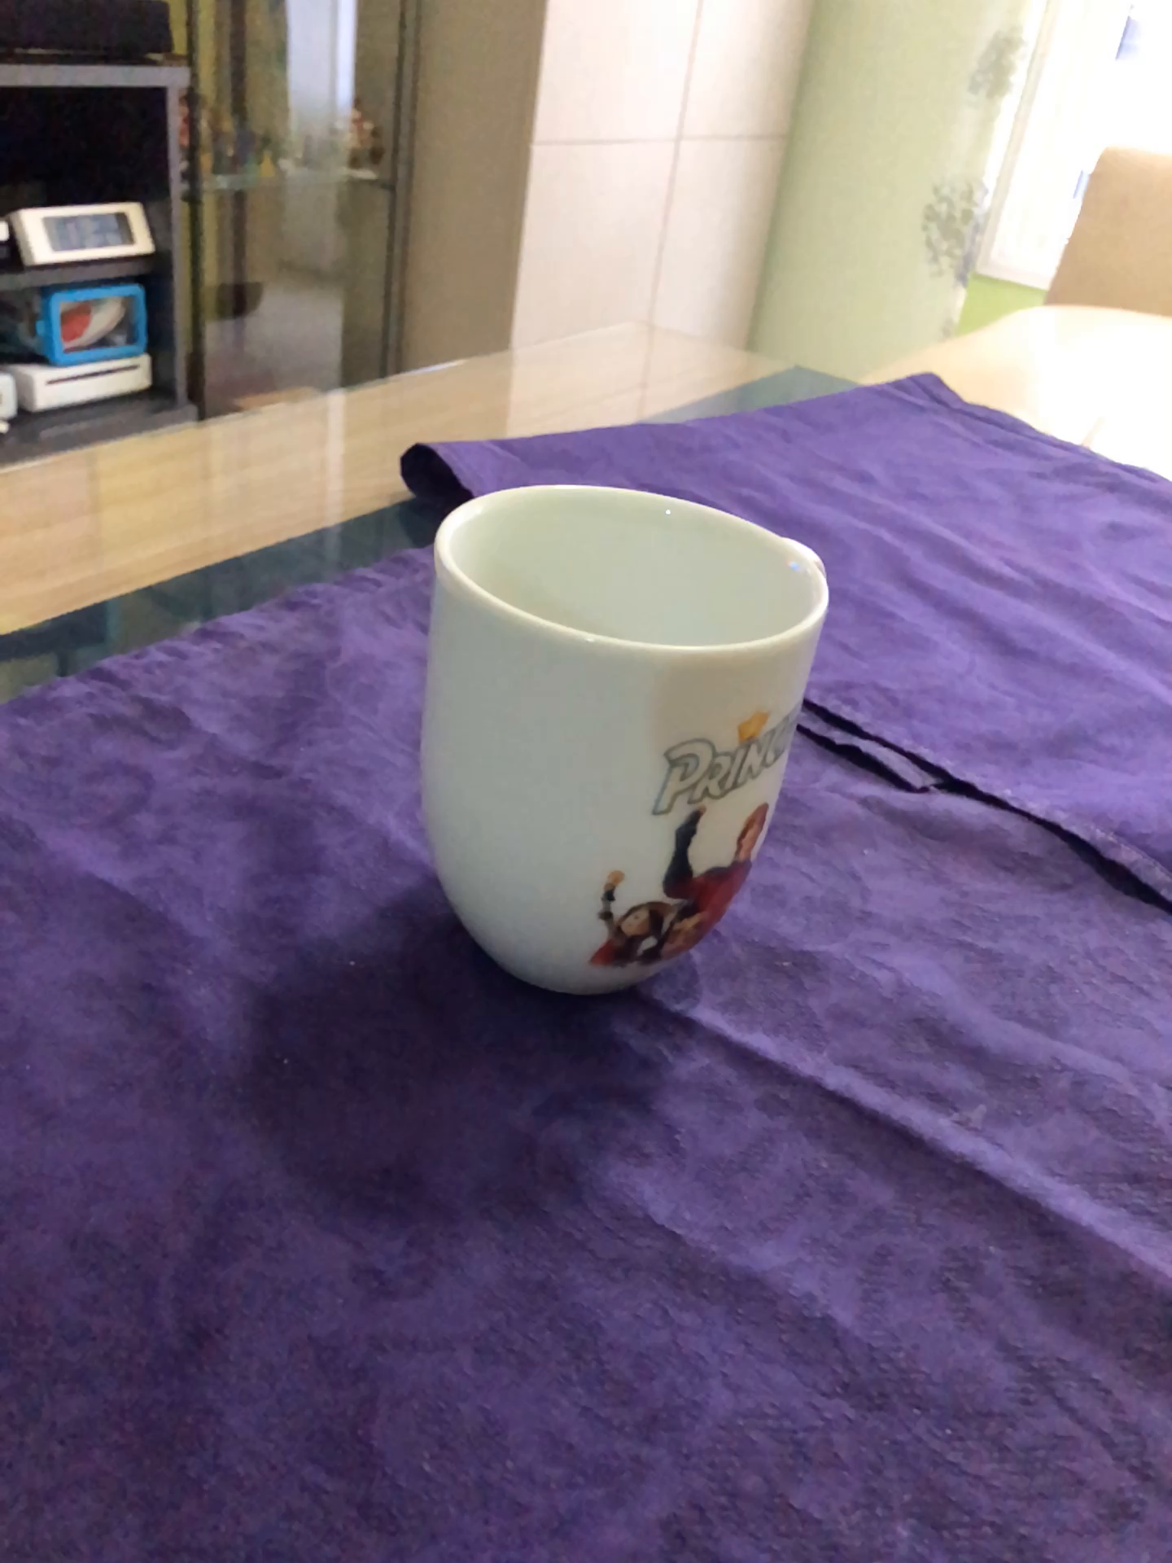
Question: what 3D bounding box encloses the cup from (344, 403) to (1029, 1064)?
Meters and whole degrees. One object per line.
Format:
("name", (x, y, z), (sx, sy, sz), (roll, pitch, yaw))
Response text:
("cup", (0.021, -0.020, 0.289), (0.080, 0.090, 0.120), (31, 38, 32))
